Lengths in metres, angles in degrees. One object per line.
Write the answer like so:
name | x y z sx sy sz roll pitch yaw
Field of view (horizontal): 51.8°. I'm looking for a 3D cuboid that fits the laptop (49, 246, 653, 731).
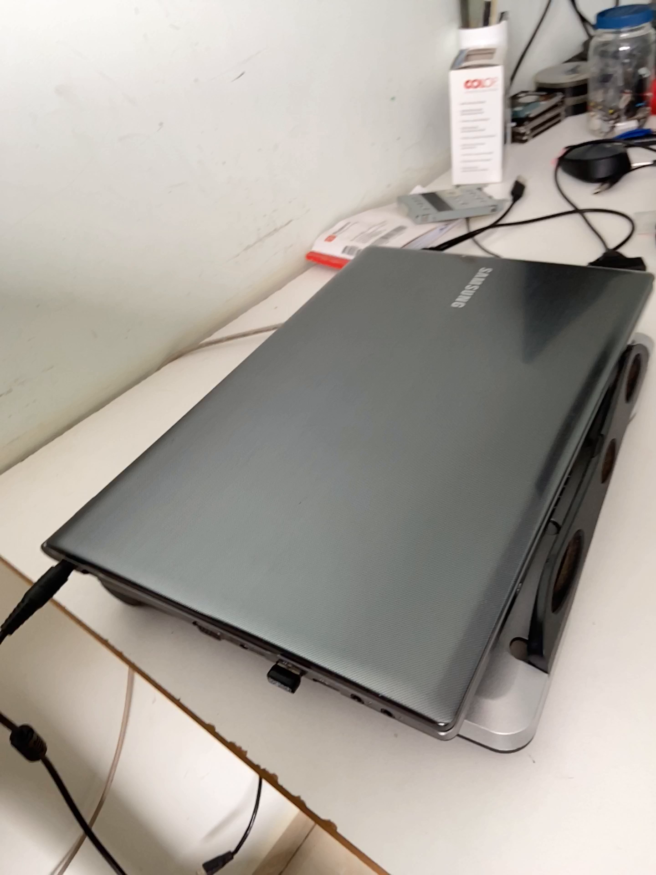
laptop | 0.041 -0.029 0.431 0.236 0.005 0.375 14 45 29
